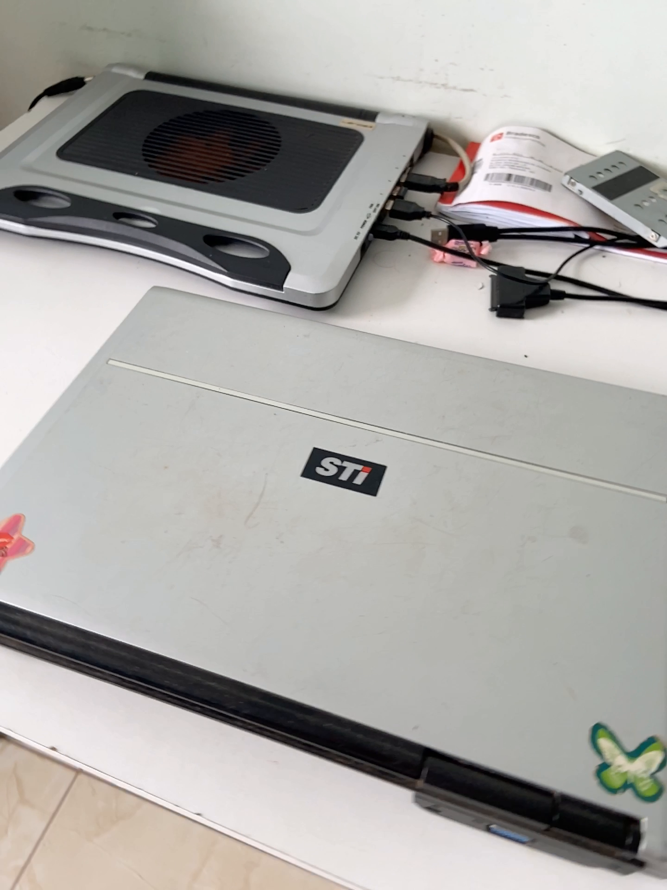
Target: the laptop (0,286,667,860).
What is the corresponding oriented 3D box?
[{"bbox_3d":[0.001,0.022,0.358,0.338,0.004,0.235,14,52,12],"label":"laptop"}]
